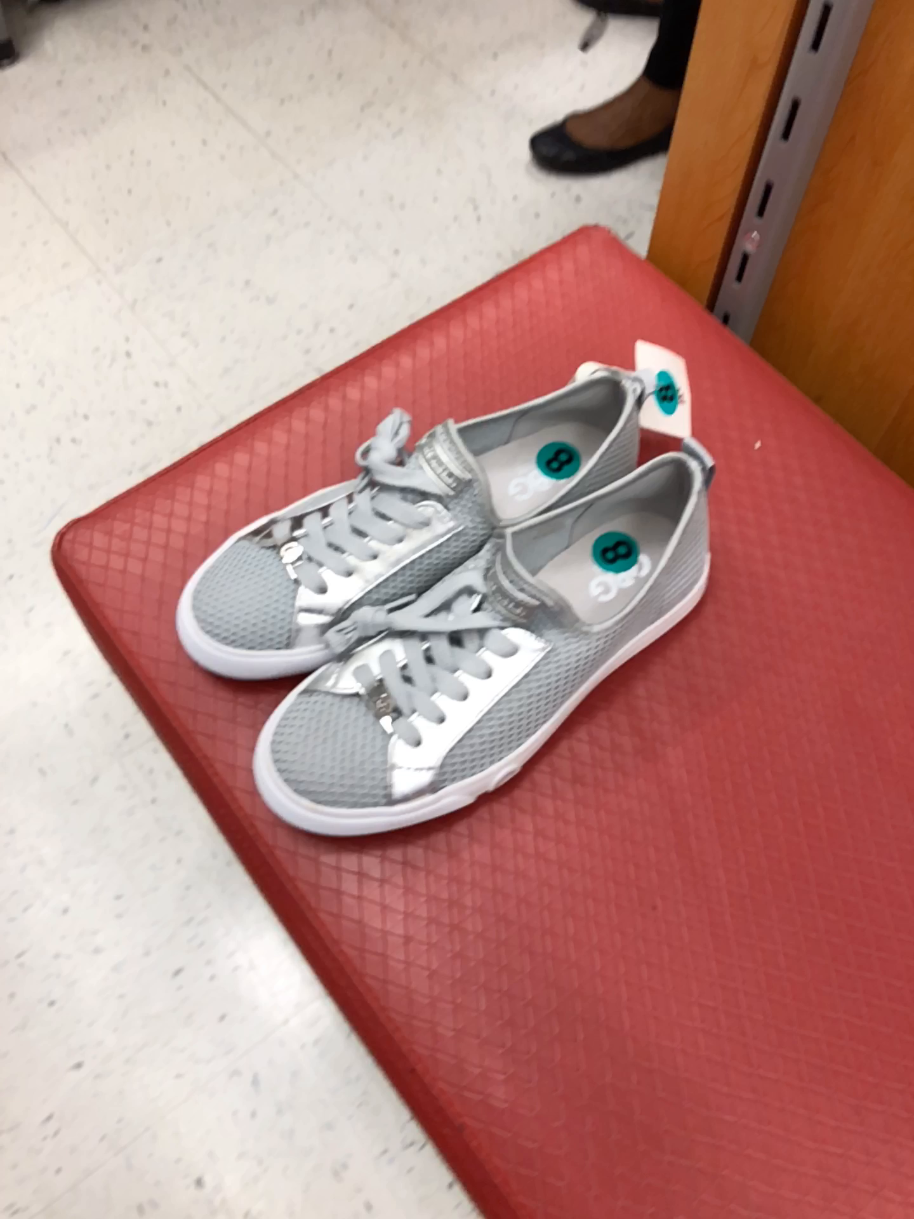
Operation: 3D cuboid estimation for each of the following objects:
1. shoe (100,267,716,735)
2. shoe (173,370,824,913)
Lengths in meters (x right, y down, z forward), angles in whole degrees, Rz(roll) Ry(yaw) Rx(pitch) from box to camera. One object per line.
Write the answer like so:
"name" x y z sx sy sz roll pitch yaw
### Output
"shoe" -0.020 -0.058 0.514 0.268 0.097 0.106 -25 65 -14
"shoe" 0.022 0.011 0.477 0.268 0.095 0.106 -31 66 -16
